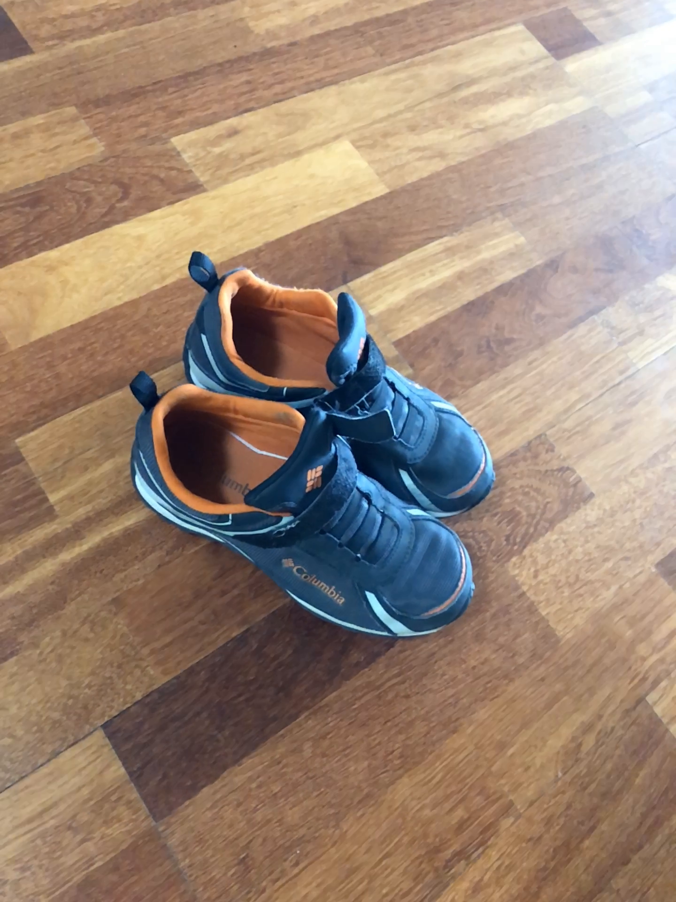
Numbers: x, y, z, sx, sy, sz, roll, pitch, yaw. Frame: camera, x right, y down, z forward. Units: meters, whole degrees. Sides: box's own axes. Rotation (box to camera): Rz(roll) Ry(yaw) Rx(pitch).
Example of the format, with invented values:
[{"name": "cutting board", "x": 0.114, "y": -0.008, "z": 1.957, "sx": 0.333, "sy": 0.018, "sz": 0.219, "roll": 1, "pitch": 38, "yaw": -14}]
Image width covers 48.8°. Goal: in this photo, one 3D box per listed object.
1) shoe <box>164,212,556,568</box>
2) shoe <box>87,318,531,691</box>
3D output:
[{"name": "shoe", "x": 0.008, "y": -0.040, "z": 0.565, "sx": 0.252, "sy": 0.127, "sz": 0.112, "roll": 31, "pitch": 62, "yaw": 2}, {"name": "shoe", "x": -0.022, "y": 0.039, "z": 0.480, "sx": 0.247, "sy": 0.102, "sz": 0.097, "roll": 31, "pitch": 62, "yaw": 2}]
